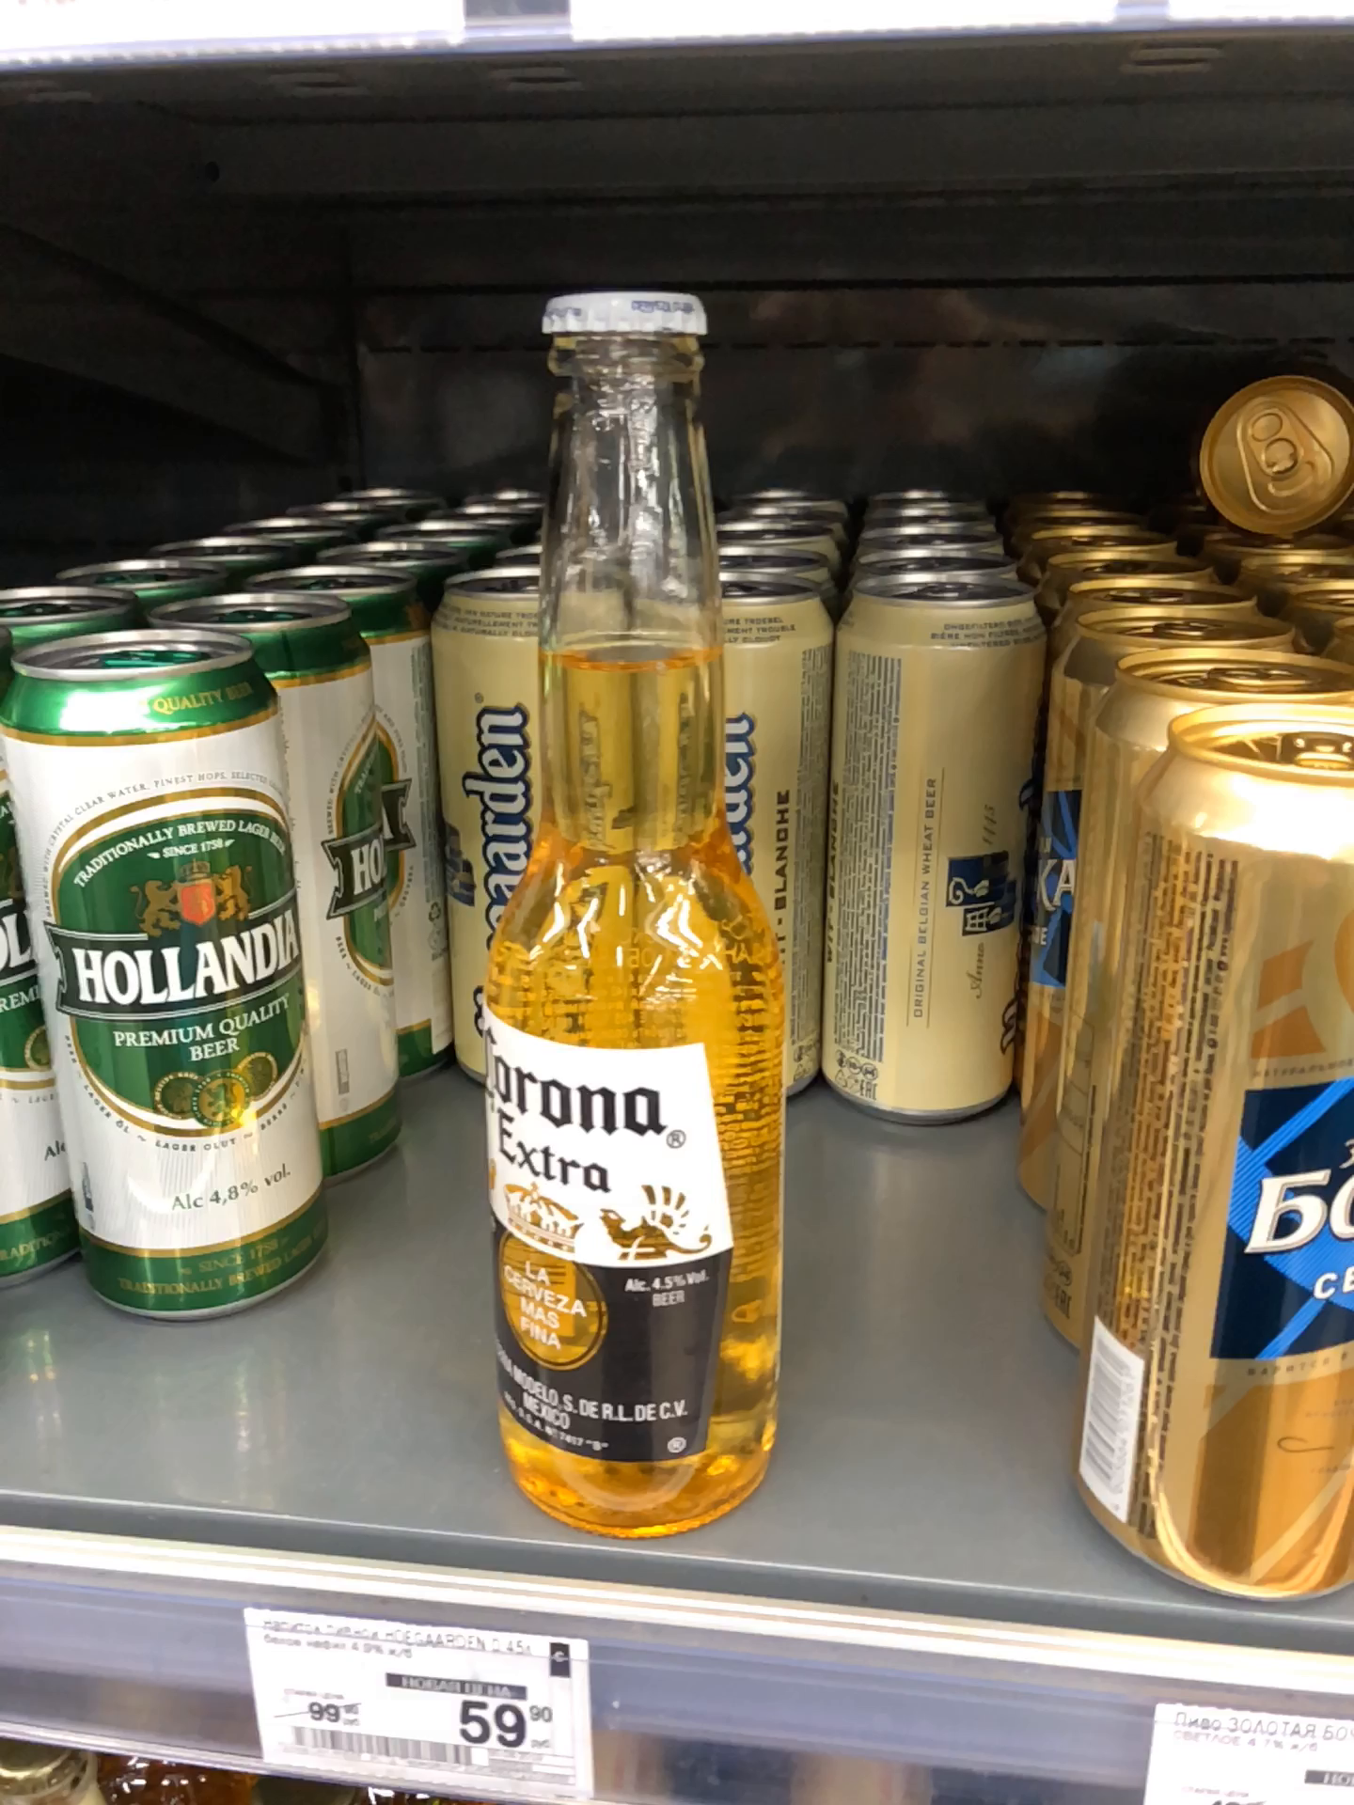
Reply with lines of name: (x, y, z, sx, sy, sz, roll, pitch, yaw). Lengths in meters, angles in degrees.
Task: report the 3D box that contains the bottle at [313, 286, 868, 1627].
bottle: (-0.012, 0.011, 0.288, 0.070, 0.237, 0.060, 12, 23, 31)
